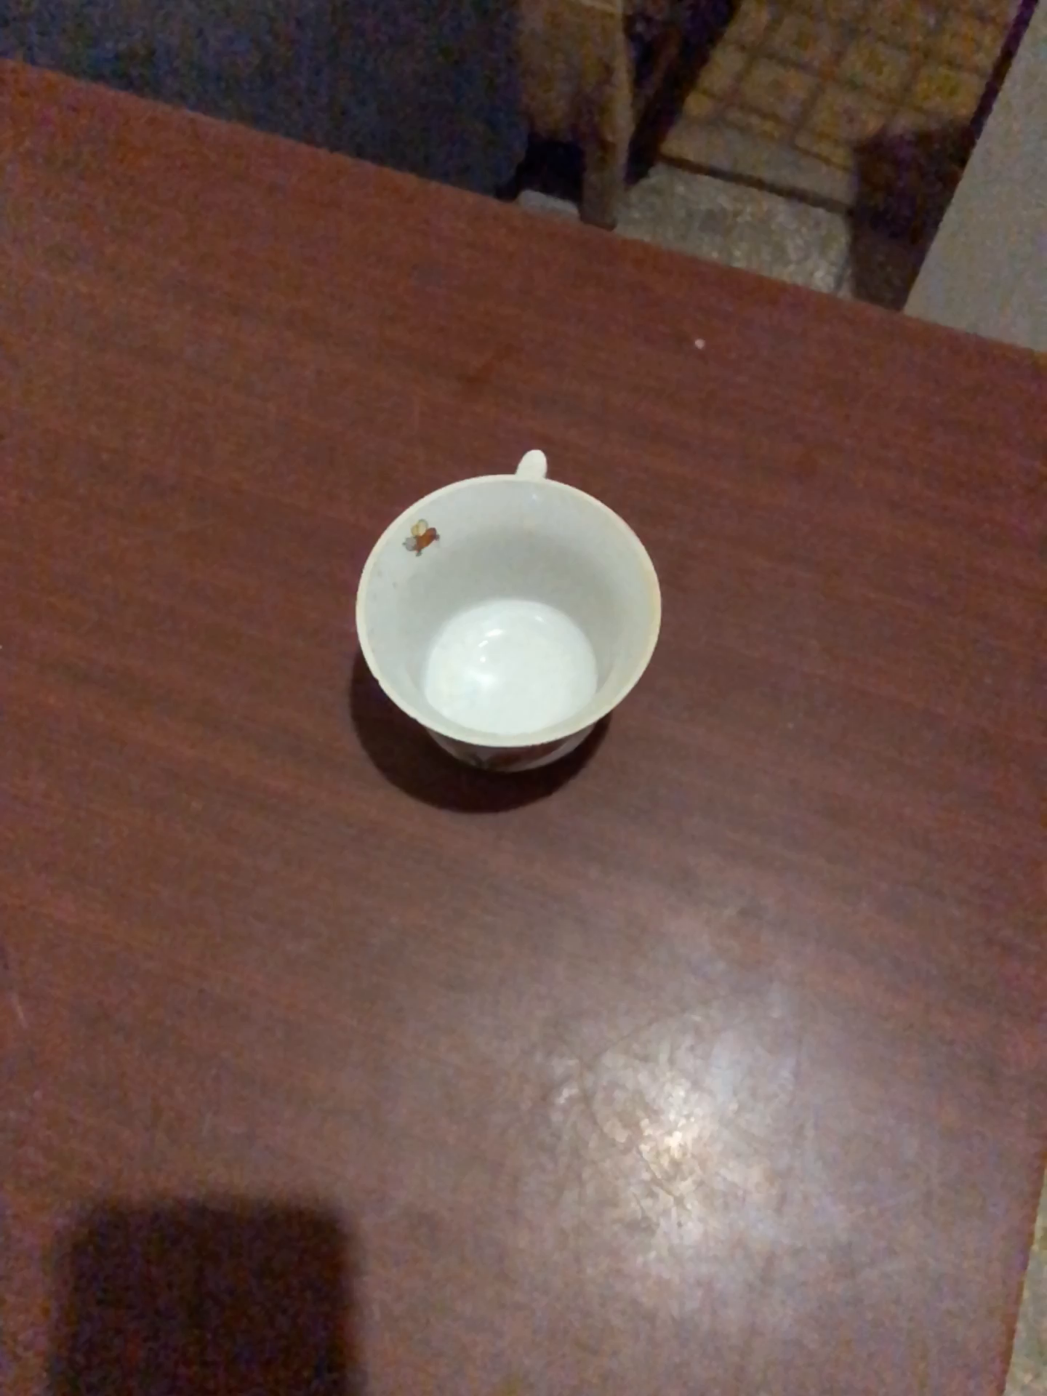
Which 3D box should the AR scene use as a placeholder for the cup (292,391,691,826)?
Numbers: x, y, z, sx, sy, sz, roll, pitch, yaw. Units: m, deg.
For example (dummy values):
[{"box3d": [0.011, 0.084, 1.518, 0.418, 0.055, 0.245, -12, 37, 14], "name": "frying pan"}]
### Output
[{"box3d": [-0.007, -0.028, 0.374, 0.100, 0.059, 0.110, 10, 68, 3], "name": "cup"}]
